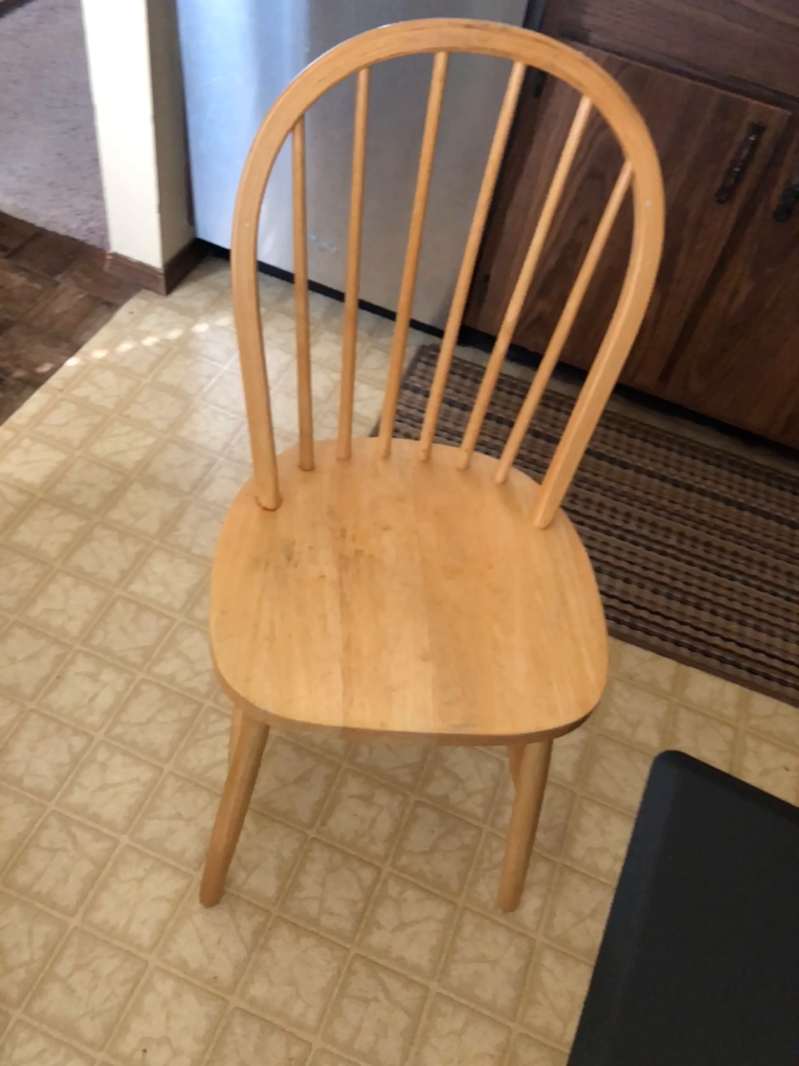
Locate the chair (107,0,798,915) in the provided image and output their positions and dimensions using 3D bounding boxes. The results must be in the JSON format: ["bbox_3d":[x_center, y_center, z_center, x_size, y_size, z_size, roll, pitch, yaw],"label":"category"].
[{"bbox_3d":[0.012,-0.012,0.961,0.460,0.899,0.561,4,50,-8],"label":"chair"}]
